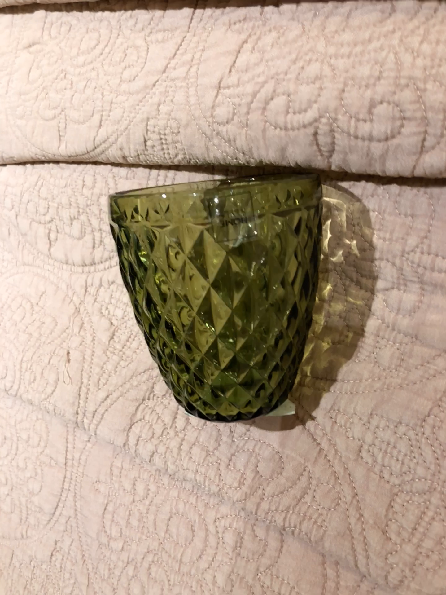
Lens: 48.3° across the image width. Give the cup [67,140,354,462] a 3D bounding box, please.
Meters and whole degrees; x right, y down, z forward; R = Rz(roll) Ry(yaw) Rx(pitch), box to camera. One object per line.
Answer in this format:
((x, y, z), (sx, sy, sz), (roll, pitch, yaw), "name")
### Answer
((0.000, -0.006, 0.205), (0.080, 0.070, 0.100), (6, 113, 36), "cup")
